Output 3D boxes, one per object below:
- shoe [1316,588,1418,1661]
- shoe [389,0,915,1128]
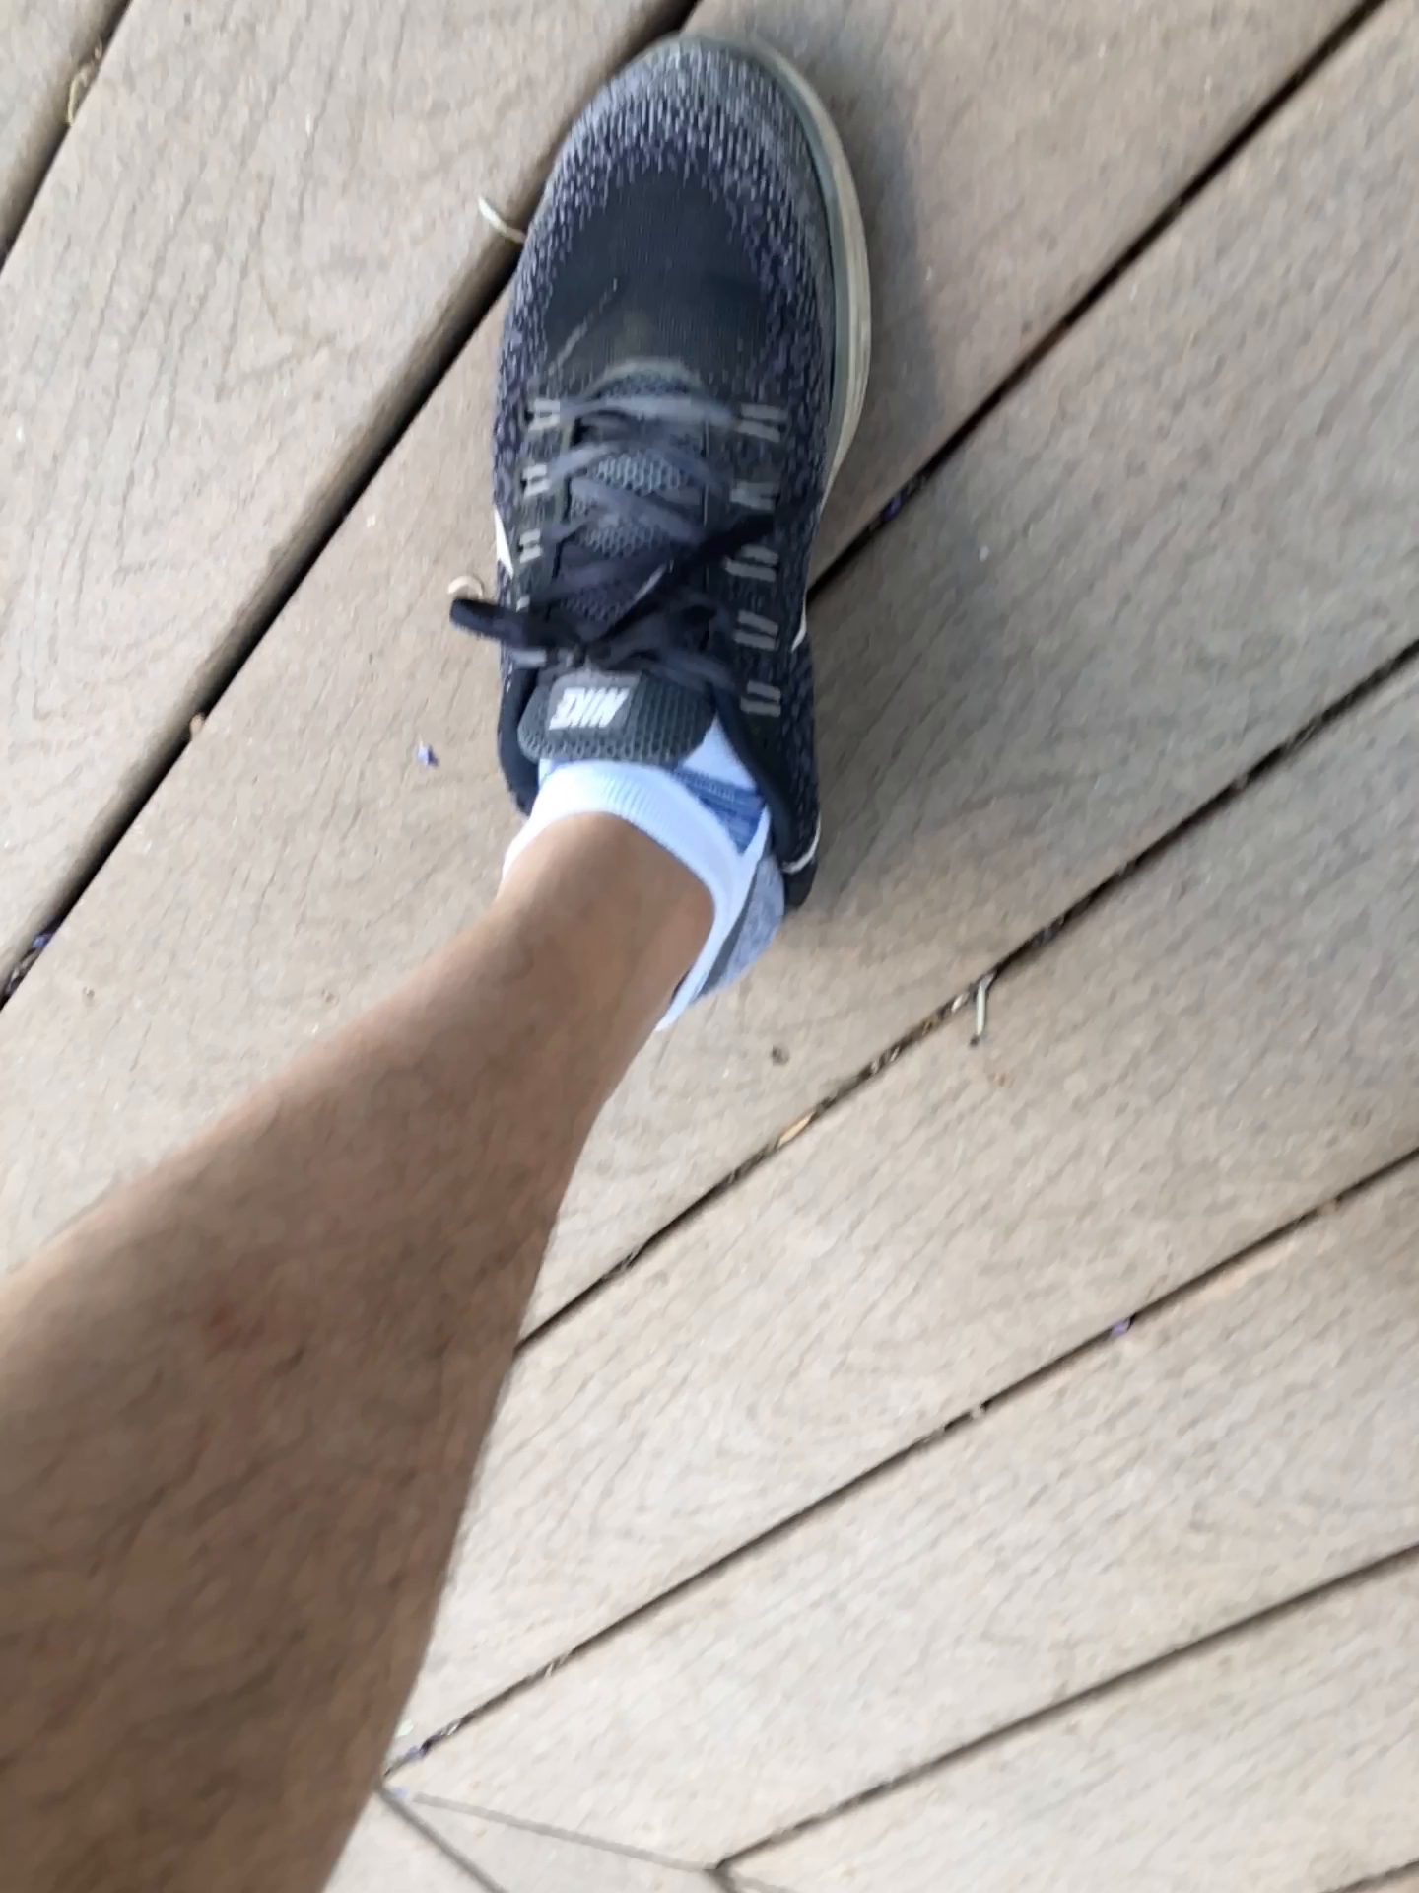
[{"bbox_3d":[0.349,0.066,0.464,0.120,0.090,0.321,38,118,-1],"label":"shoe"},{"bbox_3d":[-0.020,-0.110,0.485,0.120,0.090,0.311,10,115,14],"label":"shoe"}]
